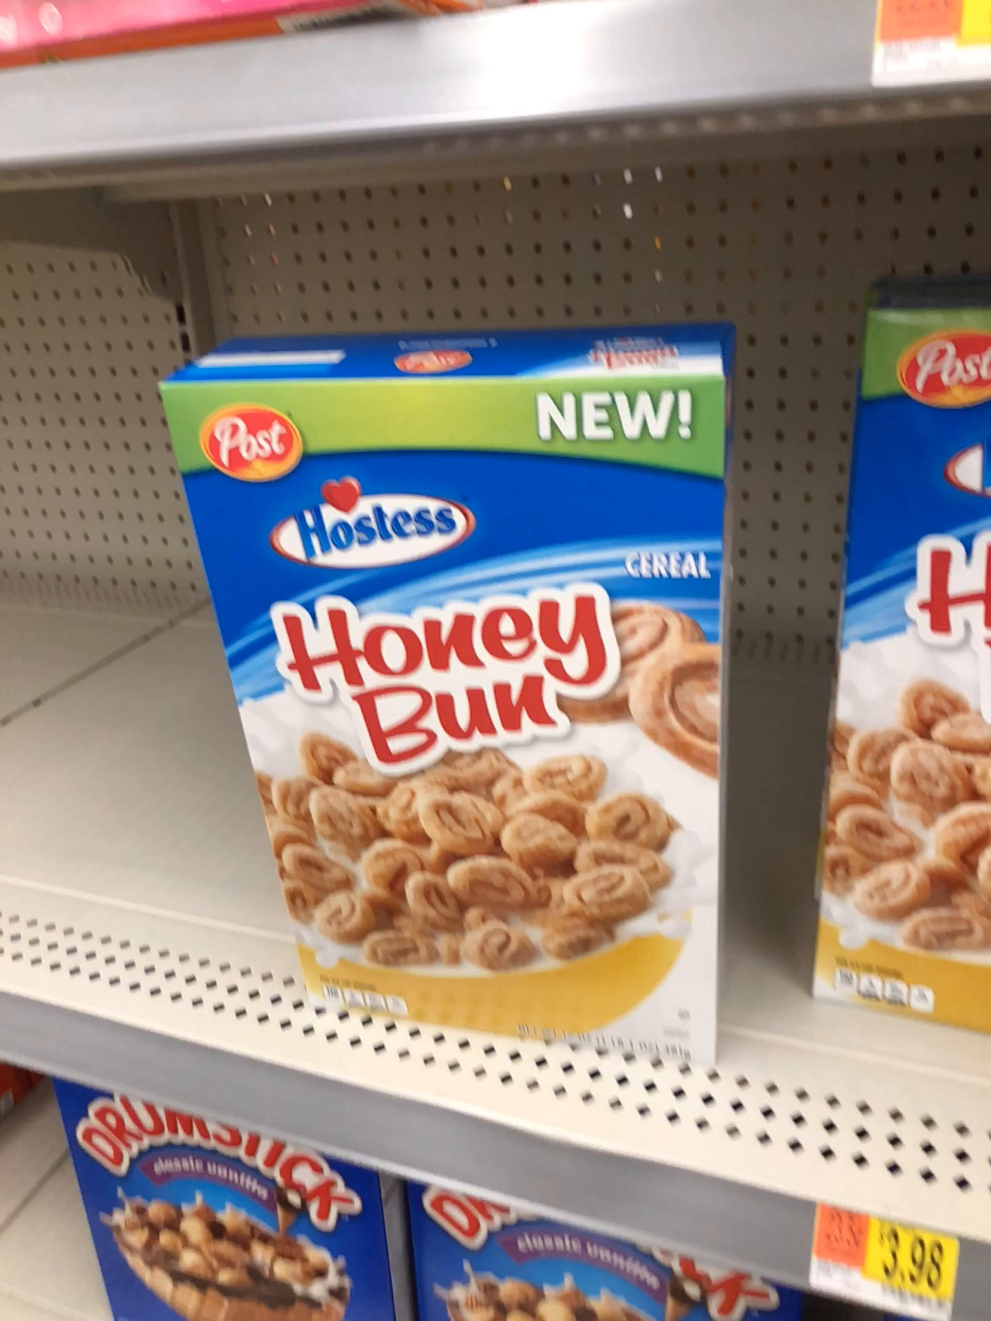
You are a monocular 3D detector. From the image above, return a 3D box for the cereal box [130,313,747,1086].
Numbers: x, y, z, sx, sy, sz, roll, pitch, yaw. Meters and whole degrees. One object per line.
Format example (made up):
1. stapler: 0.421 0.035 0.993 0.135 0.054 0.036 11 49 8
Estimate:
1. cereal box: -0.006 0.027 0.445 0.200 0.309 0.060 3 30 16
